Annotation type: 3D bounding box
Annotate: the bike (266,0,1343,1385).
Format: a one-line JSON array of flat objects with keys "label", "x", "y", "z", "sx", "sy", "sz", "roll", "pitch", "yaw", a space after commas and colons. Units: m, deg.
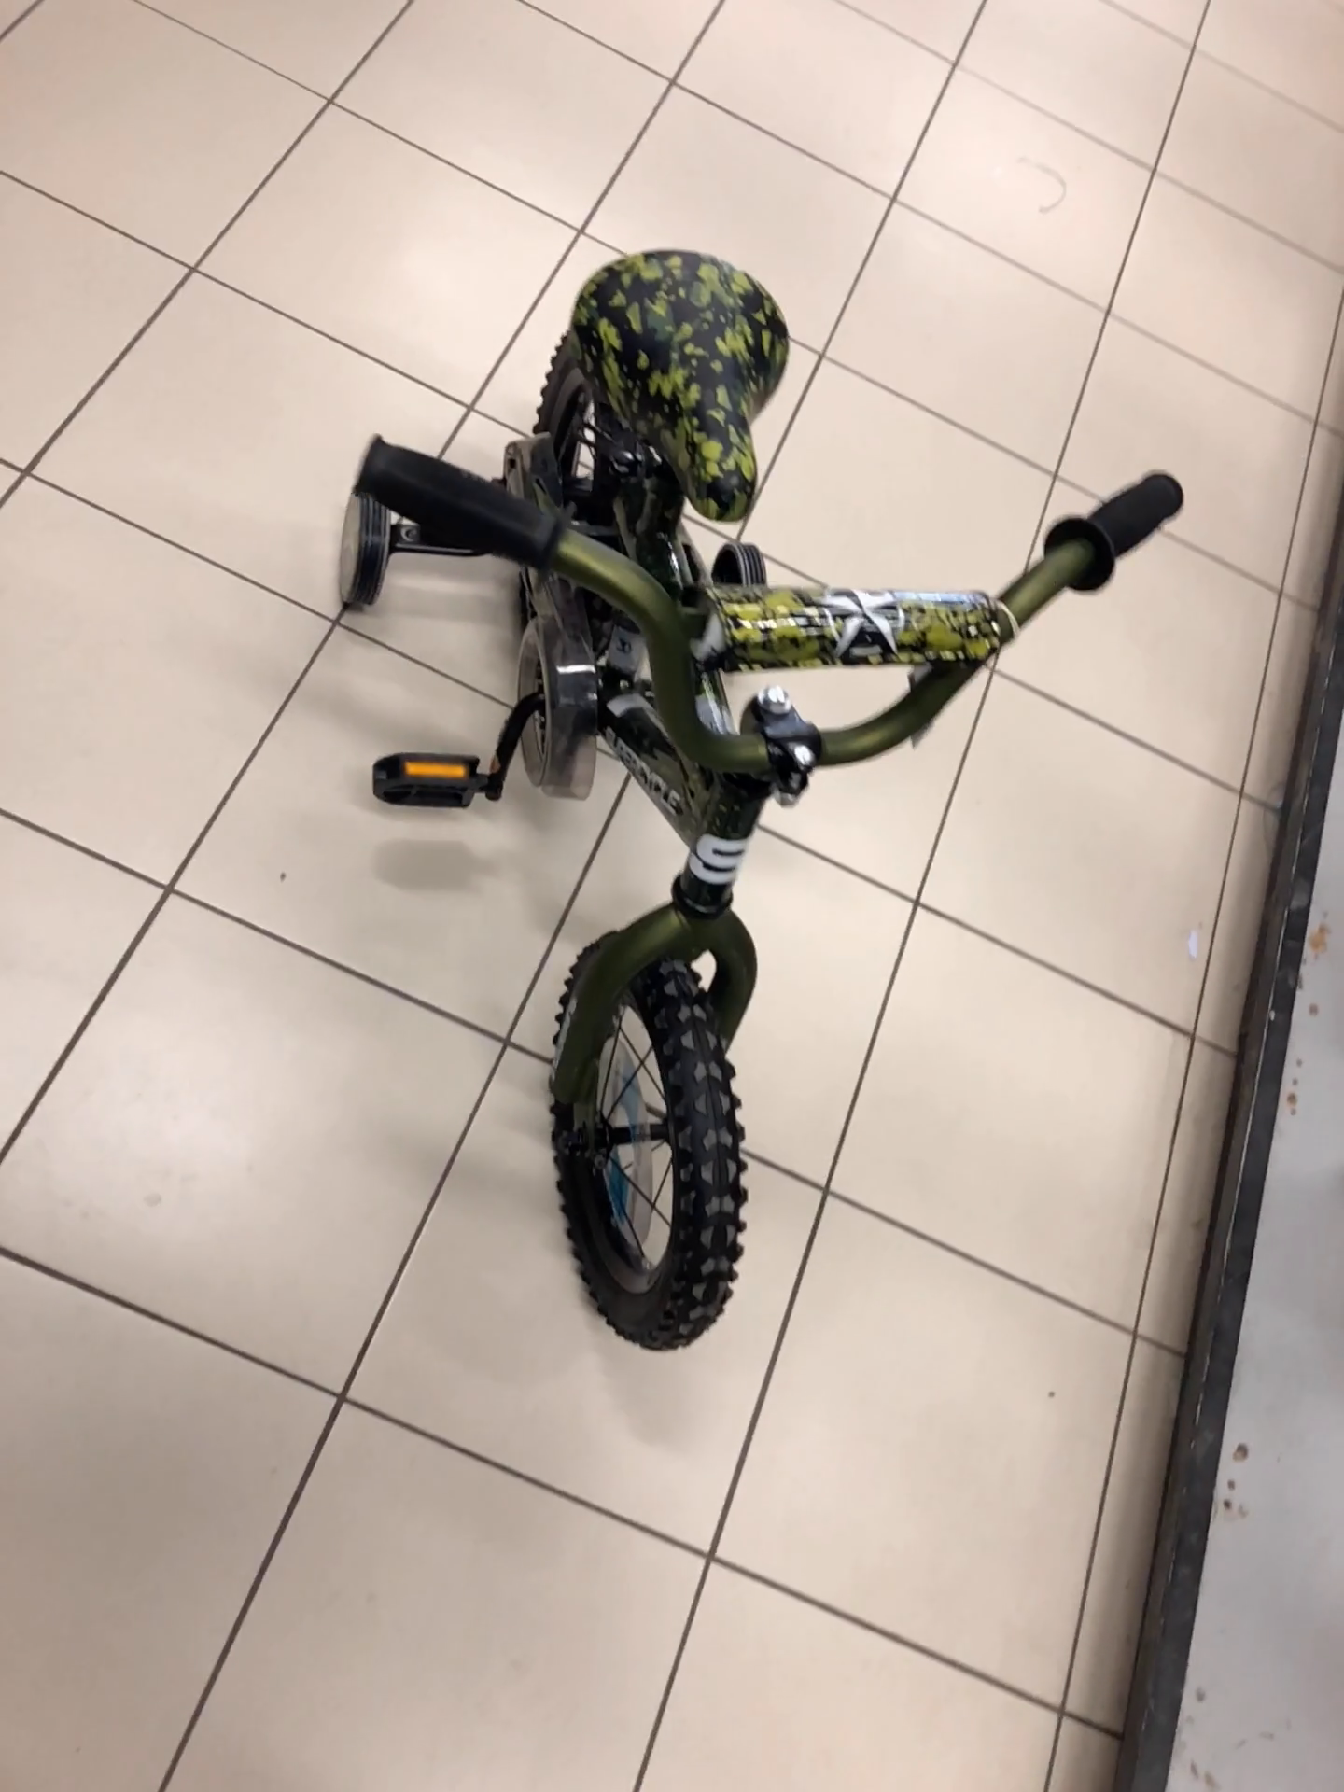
[{"label": "bike", "x": 0.019, "y": -0.141, "z": 1.004, "sx": 0.533, "sy": 0.557, "sz": 0.817, "roll": 0, "pitch": 64, "yaw": -18}]
